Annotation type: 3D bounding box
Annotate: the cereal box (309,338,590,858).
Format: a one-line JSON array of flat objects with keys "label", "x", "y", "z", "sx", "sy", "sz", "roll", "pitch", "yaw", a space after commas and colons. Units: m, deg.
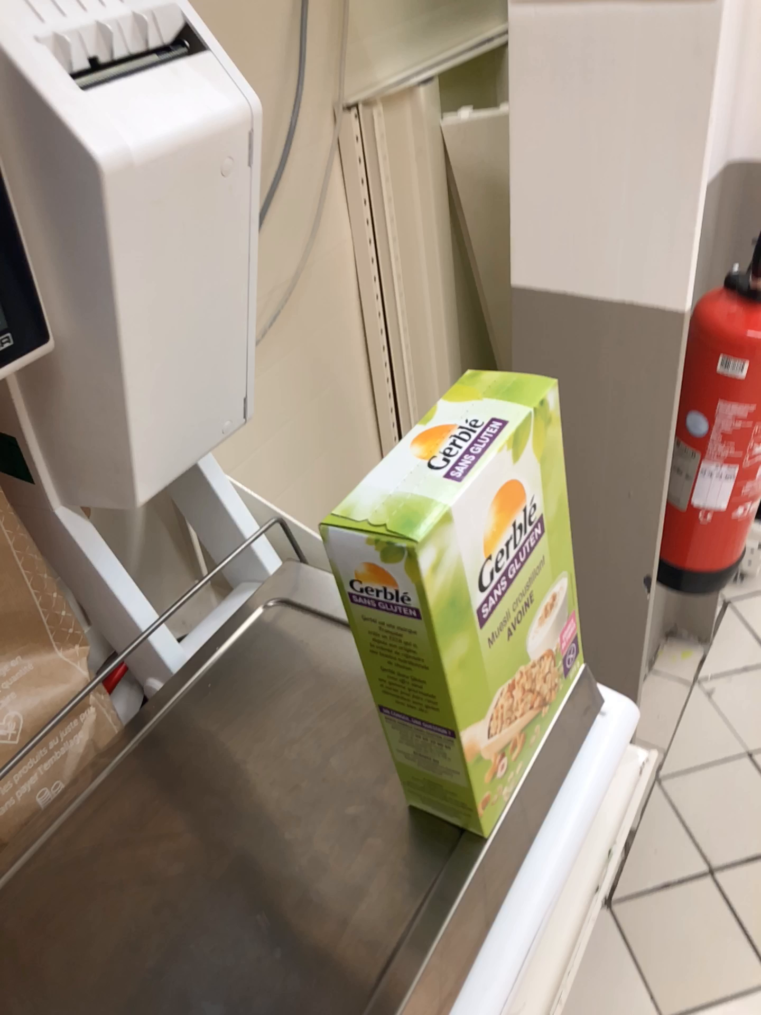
[{"label": "cereal box", "x": 0.053, "y": 0.050, "z": 0.445, "sx": 0.050, "sy": 0.229, "sz": 0.151, "roll": 12, "pitch": 44, "yaw": 32}]
